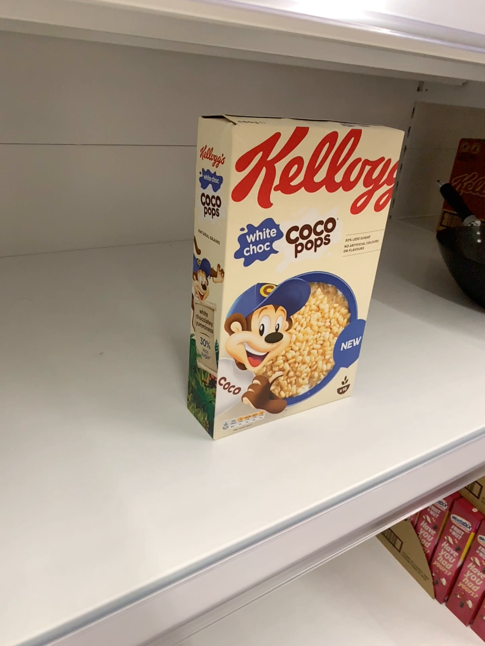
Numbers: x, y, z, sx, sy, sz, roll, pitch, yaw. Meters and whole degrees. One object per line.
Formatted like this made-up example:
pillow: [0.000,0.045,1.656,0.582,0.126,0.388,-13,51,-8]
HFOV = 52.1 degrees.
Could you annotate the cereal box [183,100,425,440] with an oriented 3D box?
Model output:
cereal box: [0.054,-0.054,0.500,0.211,0.297,0.070,-11,28,-31]
